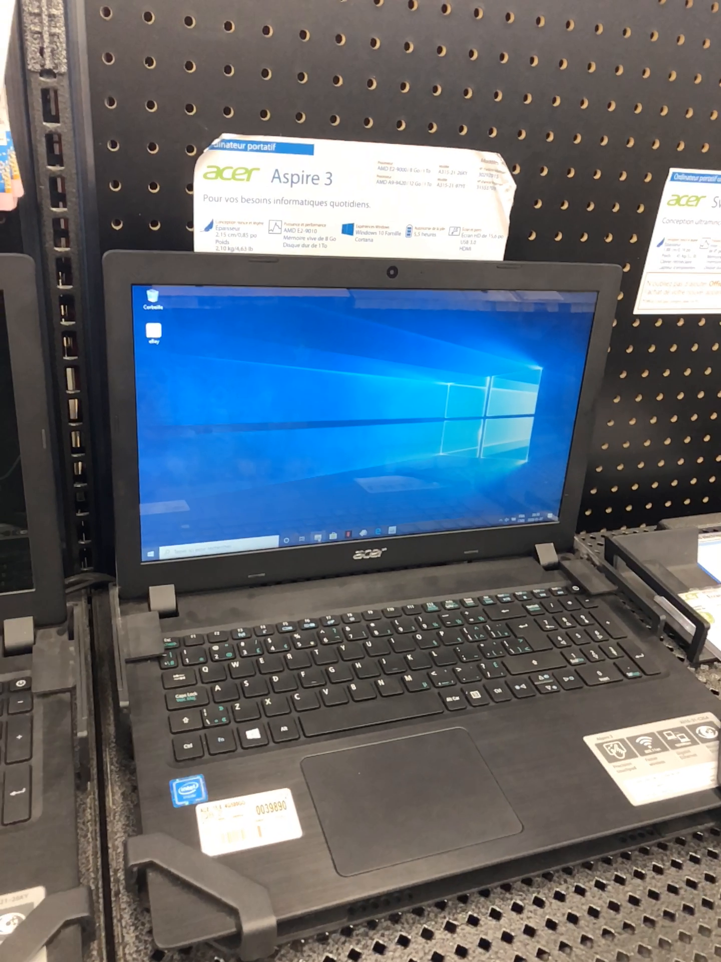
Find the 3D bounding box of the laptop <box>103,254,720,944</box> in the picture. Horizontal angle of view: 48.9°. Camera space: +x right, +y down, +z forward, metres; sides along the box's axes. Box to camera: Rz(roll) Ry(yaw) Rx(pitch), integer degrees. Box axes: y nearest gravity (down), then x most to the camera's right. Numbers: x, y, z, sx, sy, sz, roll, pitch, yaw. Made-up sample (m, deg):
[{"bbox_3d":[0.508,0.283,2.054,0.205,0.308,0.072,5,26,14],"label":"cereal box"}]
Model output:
[{"bbox_3d":[0.054,0.022,0.497,0.386,0.247,0.296,-4,28,-19],"label":"laptop"}]
